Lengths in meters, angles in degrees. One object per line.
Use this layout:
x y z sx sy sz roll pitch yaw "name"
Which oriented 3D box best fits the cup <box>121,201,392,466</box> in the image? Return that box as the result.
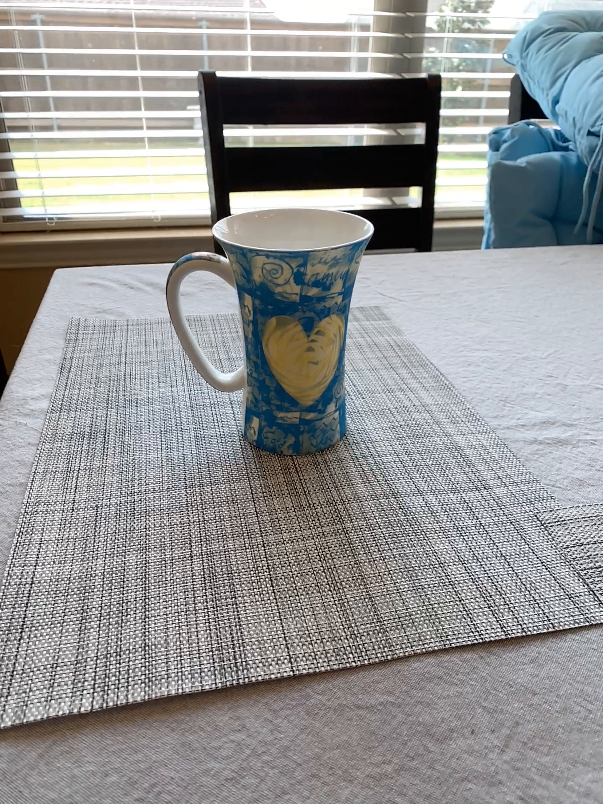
-0.031 -0.050 0.429 0.152 0.148 0.100 -3 30 -7 "cup"
